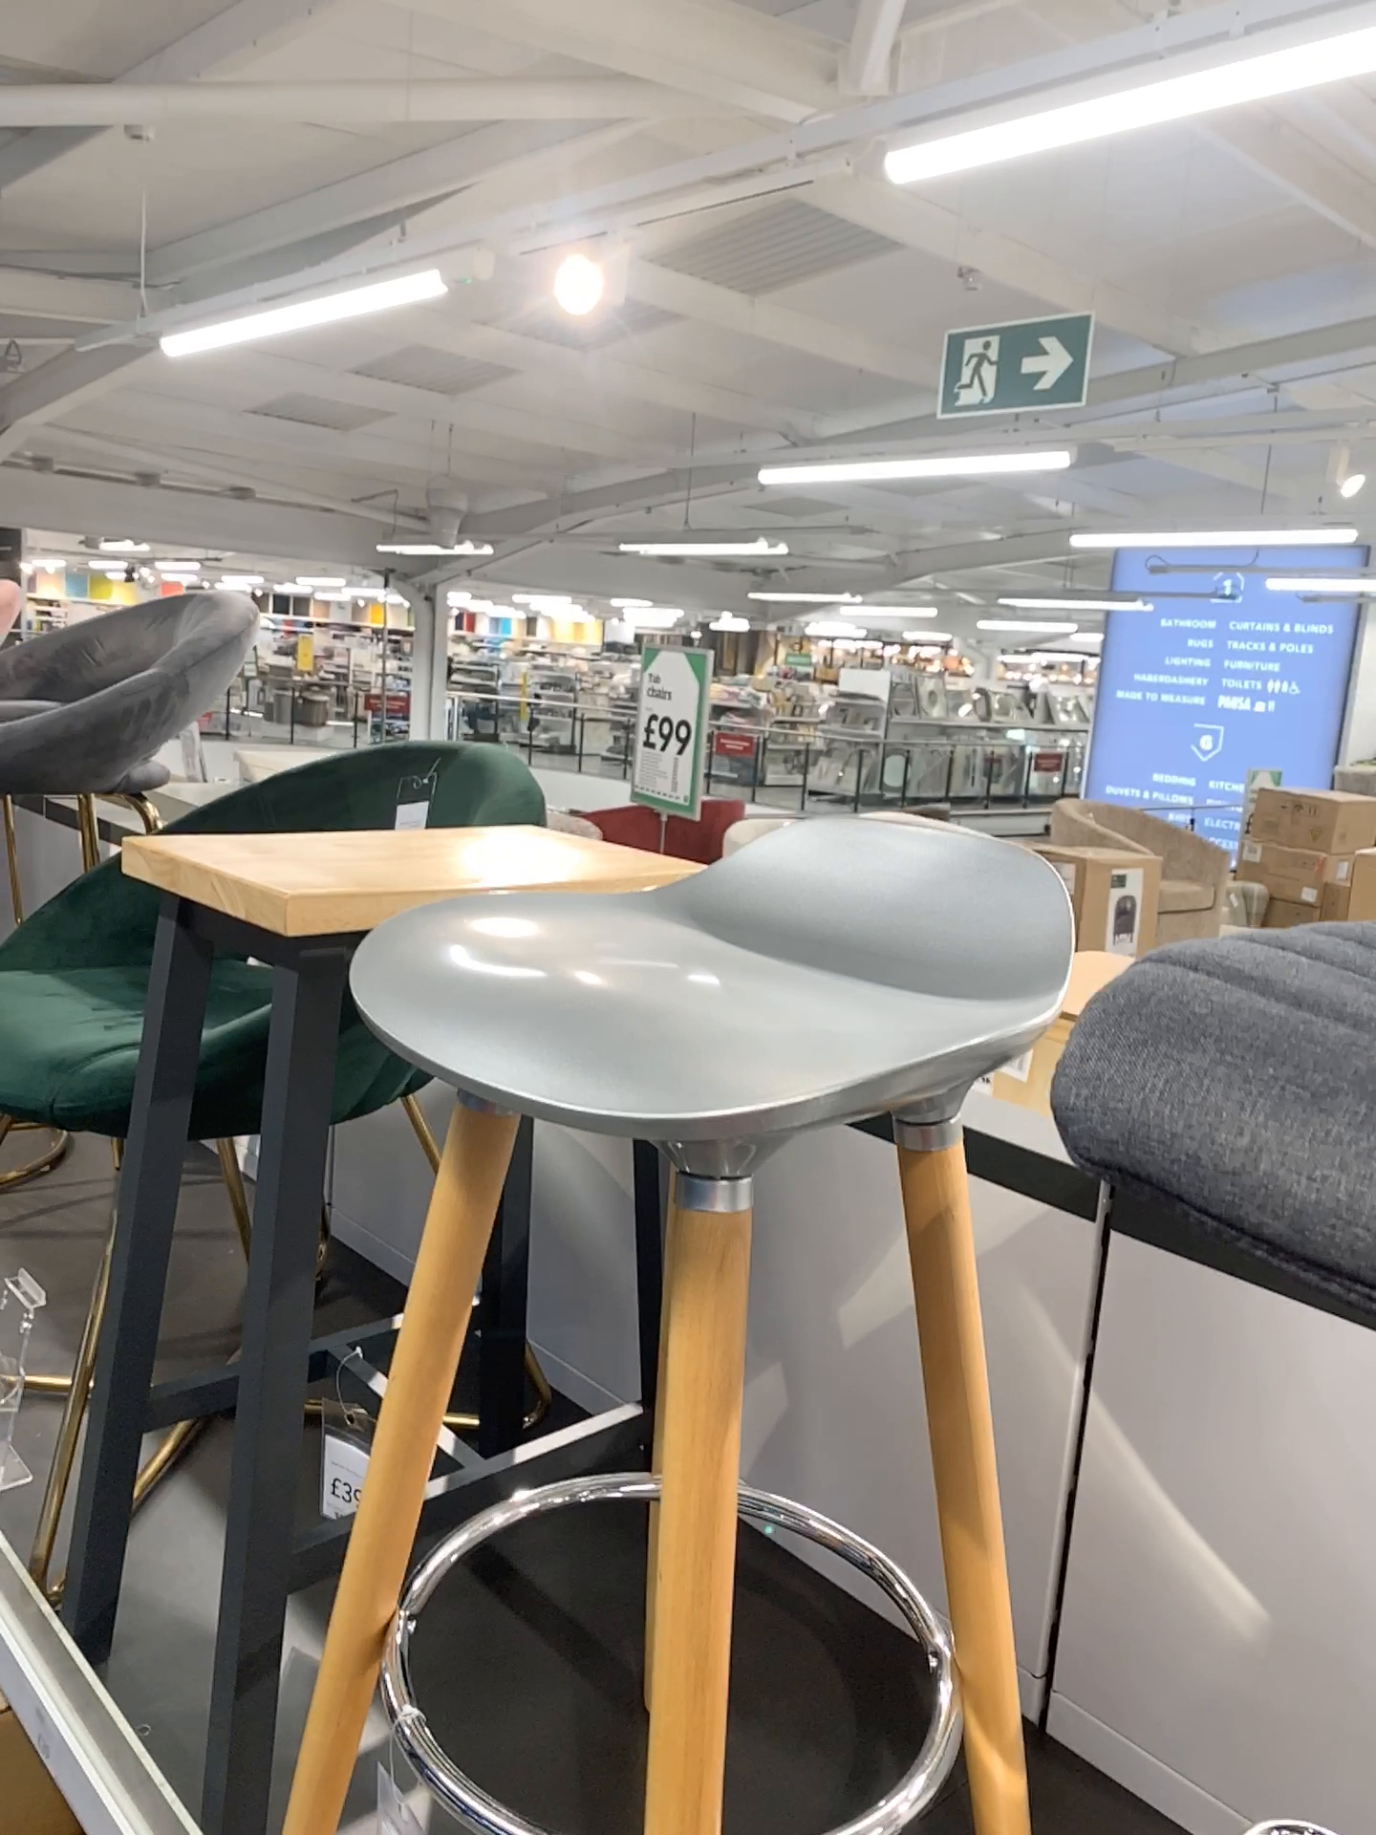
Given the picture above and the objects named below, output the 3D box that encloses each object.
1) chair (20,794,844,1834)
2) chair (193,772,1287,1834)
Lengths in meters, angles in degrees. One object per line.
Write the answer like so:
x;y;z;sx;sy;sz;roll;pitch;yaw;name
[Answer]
-0.230;0.266;1.207;0.502;0.688;0.443;-4;13;-44;chair
0.009;0.302;0.900;0.461;0.737;0.443;-4;13;-42;chair
